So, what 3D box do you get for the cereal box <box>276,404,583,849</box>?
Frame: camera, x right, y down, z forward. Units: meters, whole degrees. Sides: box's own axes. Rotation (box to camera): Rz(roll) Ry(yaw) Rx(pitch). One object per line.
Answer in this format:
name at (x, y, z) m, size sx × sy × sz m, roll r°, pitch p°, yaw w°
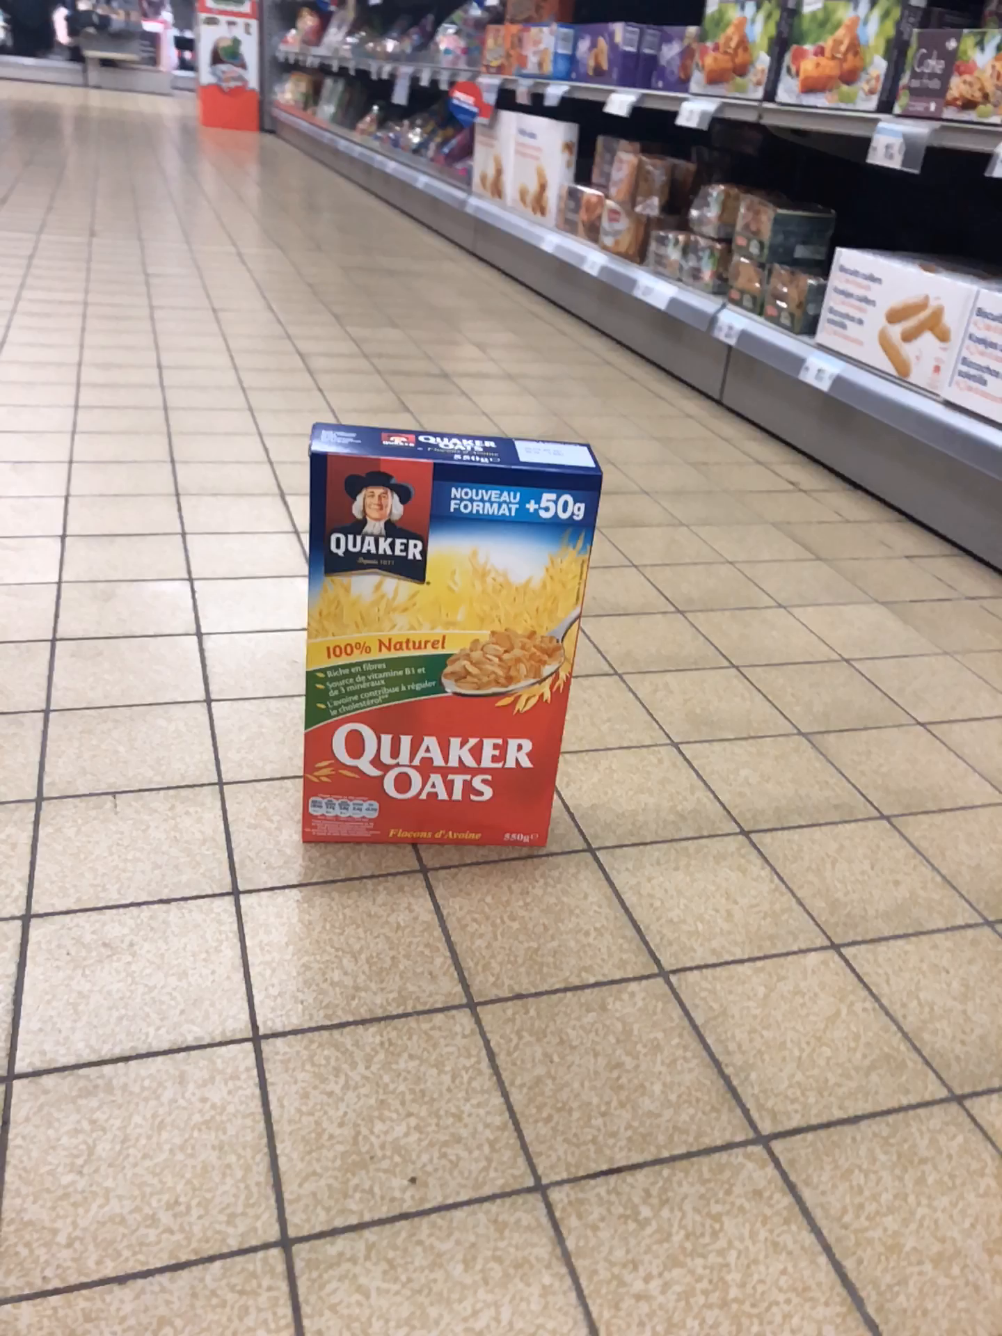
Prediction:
cereal box at (-0.044, -0.014, 0.585) m, size 0.140 × 0.229 × 0.050 m, roll 3°, pitch 27°, yaw -7°
